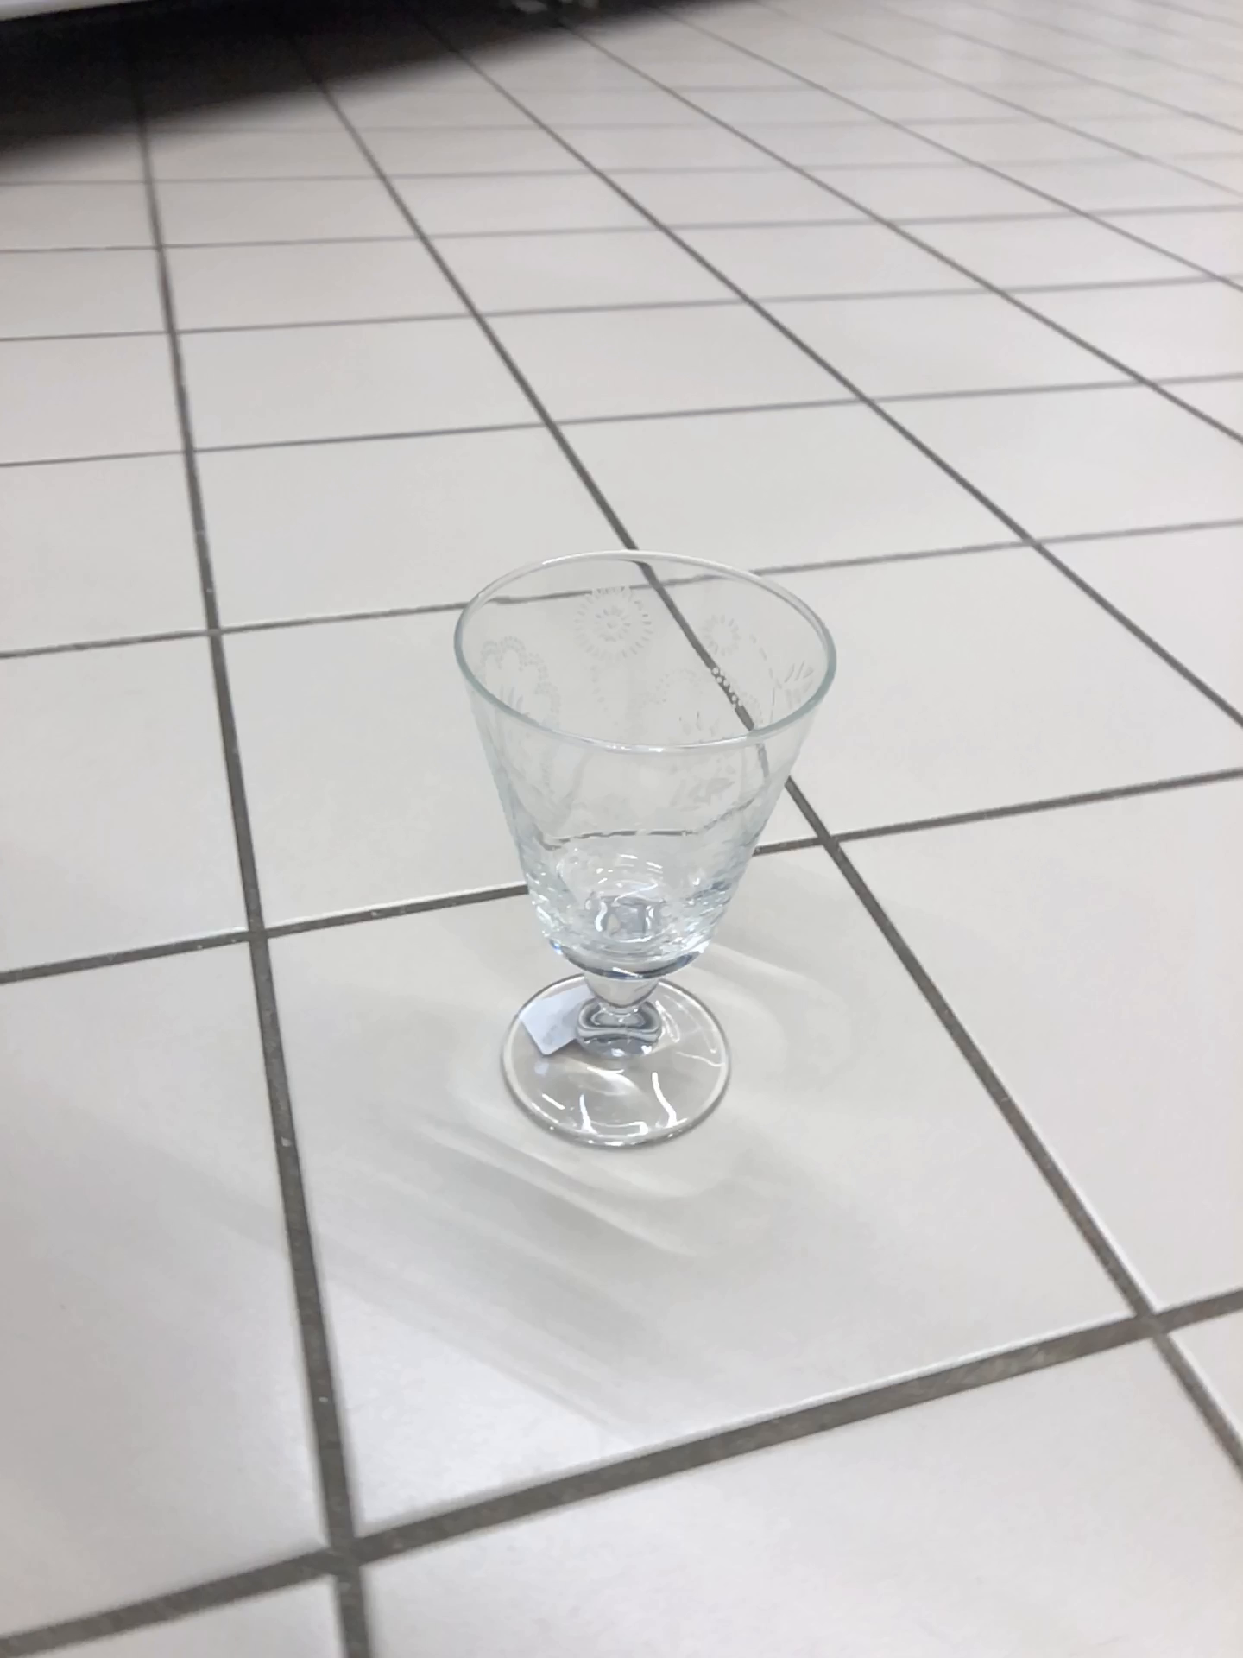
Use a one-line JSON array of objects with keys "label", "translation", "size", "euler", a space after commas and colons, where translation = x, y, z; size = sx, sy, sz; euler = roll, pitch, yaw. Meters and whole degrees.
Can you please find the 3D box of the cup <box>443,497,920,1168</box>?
[{"label": "cup", "translation": [0.006, 0.001, 0.349], "size": [0.094, 0.138, 0.096], "euler": [2, 37, -1]}]
